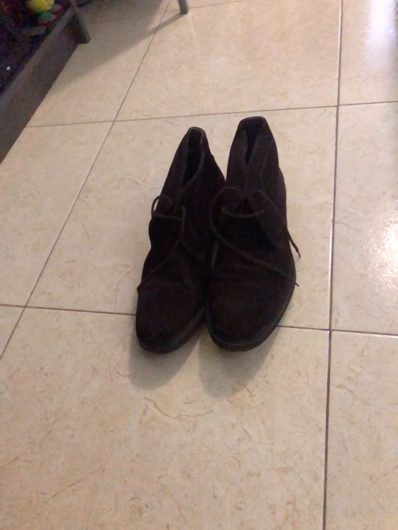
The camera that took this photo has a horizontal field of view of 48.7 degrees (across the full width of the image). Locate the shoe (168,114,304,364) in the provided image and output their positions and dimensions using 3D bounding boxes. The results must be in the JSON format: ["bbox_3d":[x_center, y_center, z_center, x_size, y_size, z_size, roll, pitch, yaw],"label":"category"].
[{"bbox_3d":[0.068,-0.043,0.582,0.110,0.140,0.301,3,55,18],"label":"shoe"}]

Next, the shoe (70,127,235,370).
[{"bbox_3d":[-0.041,-0.033,0.591,0.110,0.130,0.301,3,55,18],"label":"shoe"}]
